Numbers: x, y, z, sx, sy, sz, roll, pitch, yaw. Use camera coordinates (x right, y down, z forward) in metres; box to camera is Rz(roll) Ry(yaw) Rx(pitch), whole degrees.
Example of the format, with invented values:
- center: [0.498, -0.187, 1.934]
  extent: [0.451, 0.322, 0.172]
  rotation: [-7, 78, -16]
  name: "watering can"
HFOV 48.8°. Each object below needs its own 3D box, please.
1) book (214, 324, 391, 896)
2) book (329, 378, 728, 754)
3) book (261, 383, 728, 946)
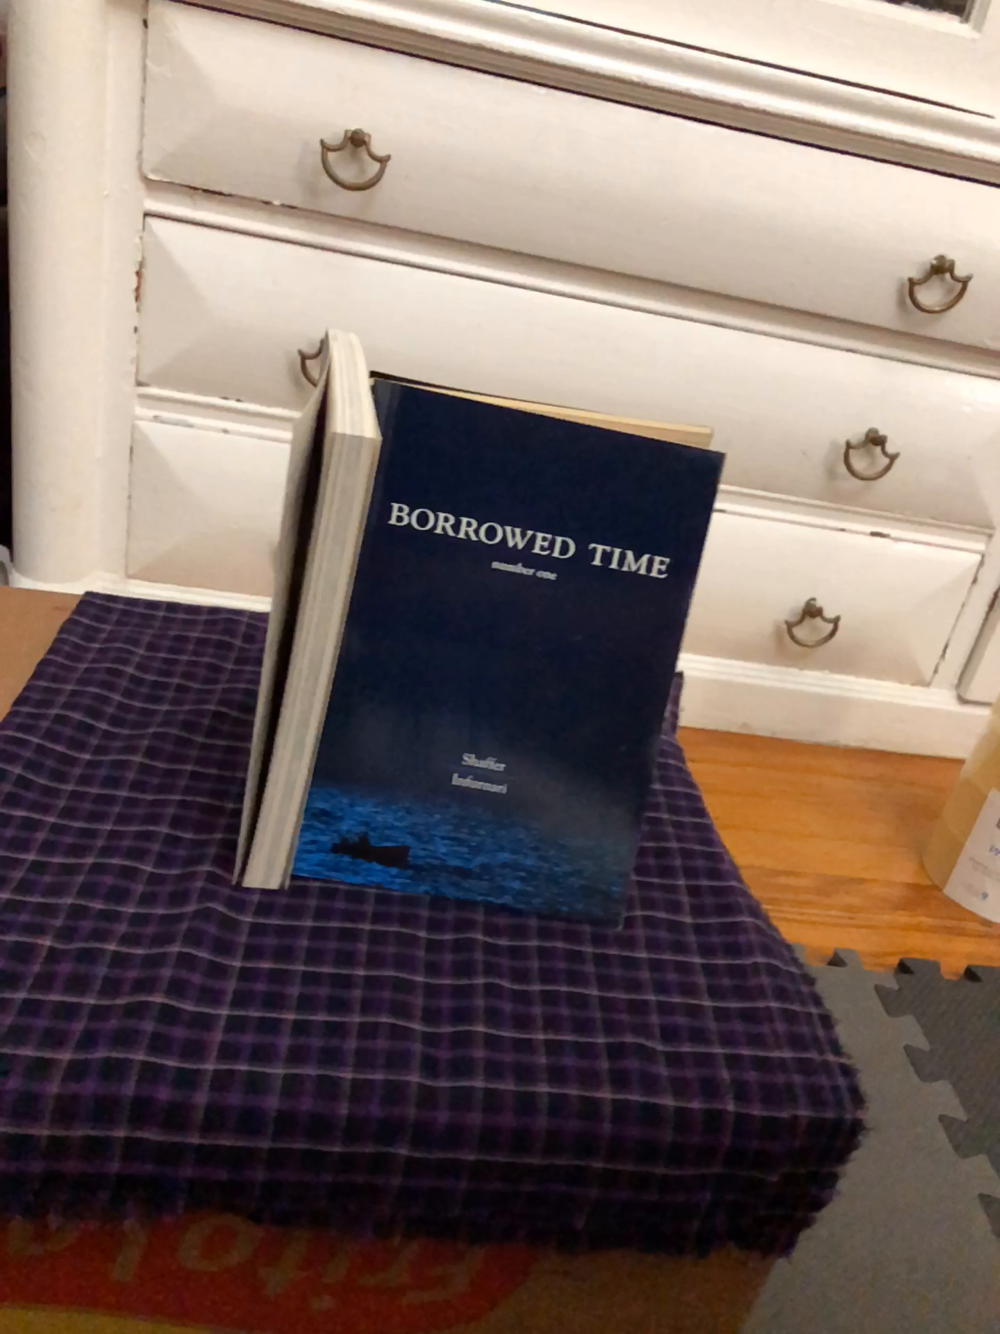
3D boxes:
- center: [-0.081, -0.028, 0.448]
  extent: [0.020, 0.189, 0.141]
  rotation: [12, 26, -15]
  name: "book"
- center: [0.002, -0.032, 0.498]
  extent: [0.140, 0.199, 0.010]
  rotation: [6, 46, -10]
  name: "book"
- center: [-0.003, 0.004, 0.434]
  extent: [0.150, 0.200, 0.010]
  rotation: [9, 7, -8]
  name: "book"
